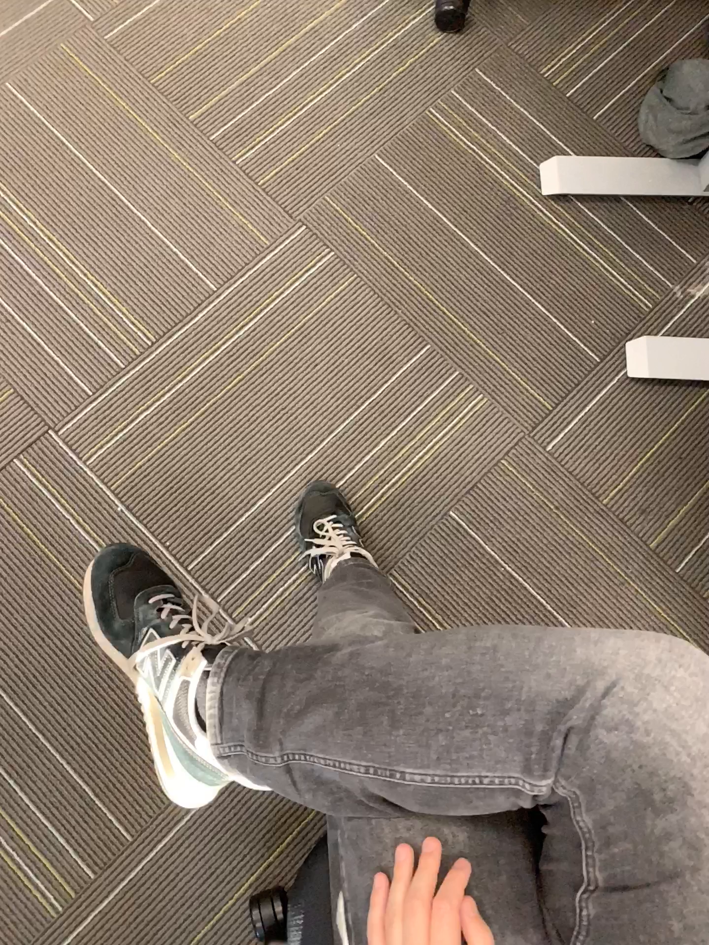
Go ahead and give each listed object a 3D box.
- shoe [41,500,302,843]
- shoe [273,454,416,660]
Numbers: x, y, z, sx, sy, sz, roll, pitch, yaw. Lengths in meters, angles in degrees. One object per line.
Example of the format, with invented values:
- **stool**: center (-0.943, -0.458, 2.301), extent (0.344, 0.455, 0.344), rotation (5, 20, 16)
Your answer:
- **shoe**: center (-0.195, 0.199, 0.762), extent (0.133, 0.115, 0.304), rotation (-29, 78, 27)
- **shoe**: center (-0.021, 0.143, 1.201), extent (0.115, 0.133, 0.304), rotation (-22, 79, -8)
